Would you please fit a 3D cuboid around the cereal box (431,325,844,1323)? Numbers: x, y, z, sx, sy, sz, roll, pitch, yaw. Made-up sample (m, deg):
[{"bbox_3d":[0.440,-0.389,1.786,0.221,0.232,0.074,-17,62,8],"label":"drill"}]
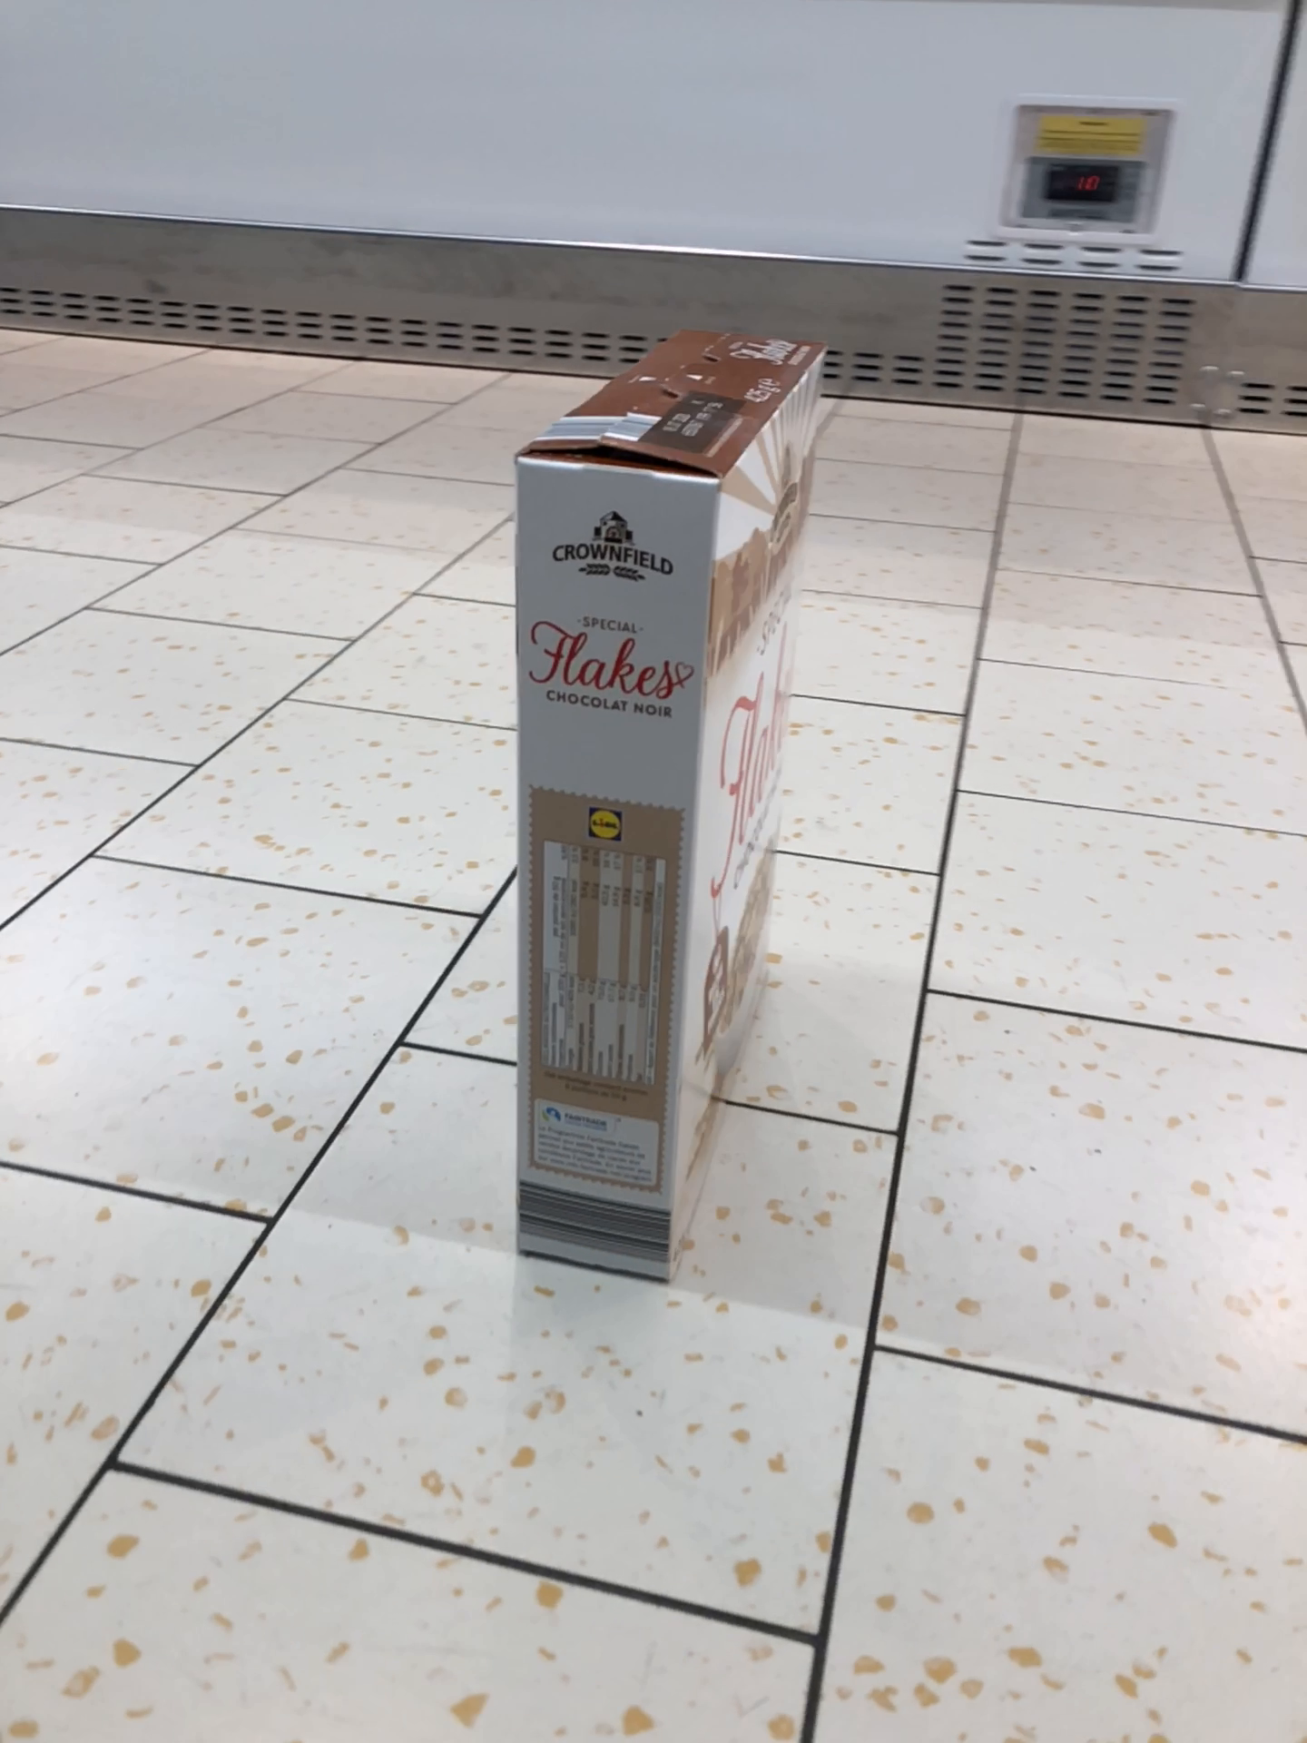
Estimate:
[{"bbox_3d":[0.004,-0.027,0.470,0.070,0.258,0.201,8,29,11],"label":"cereal box"}]
